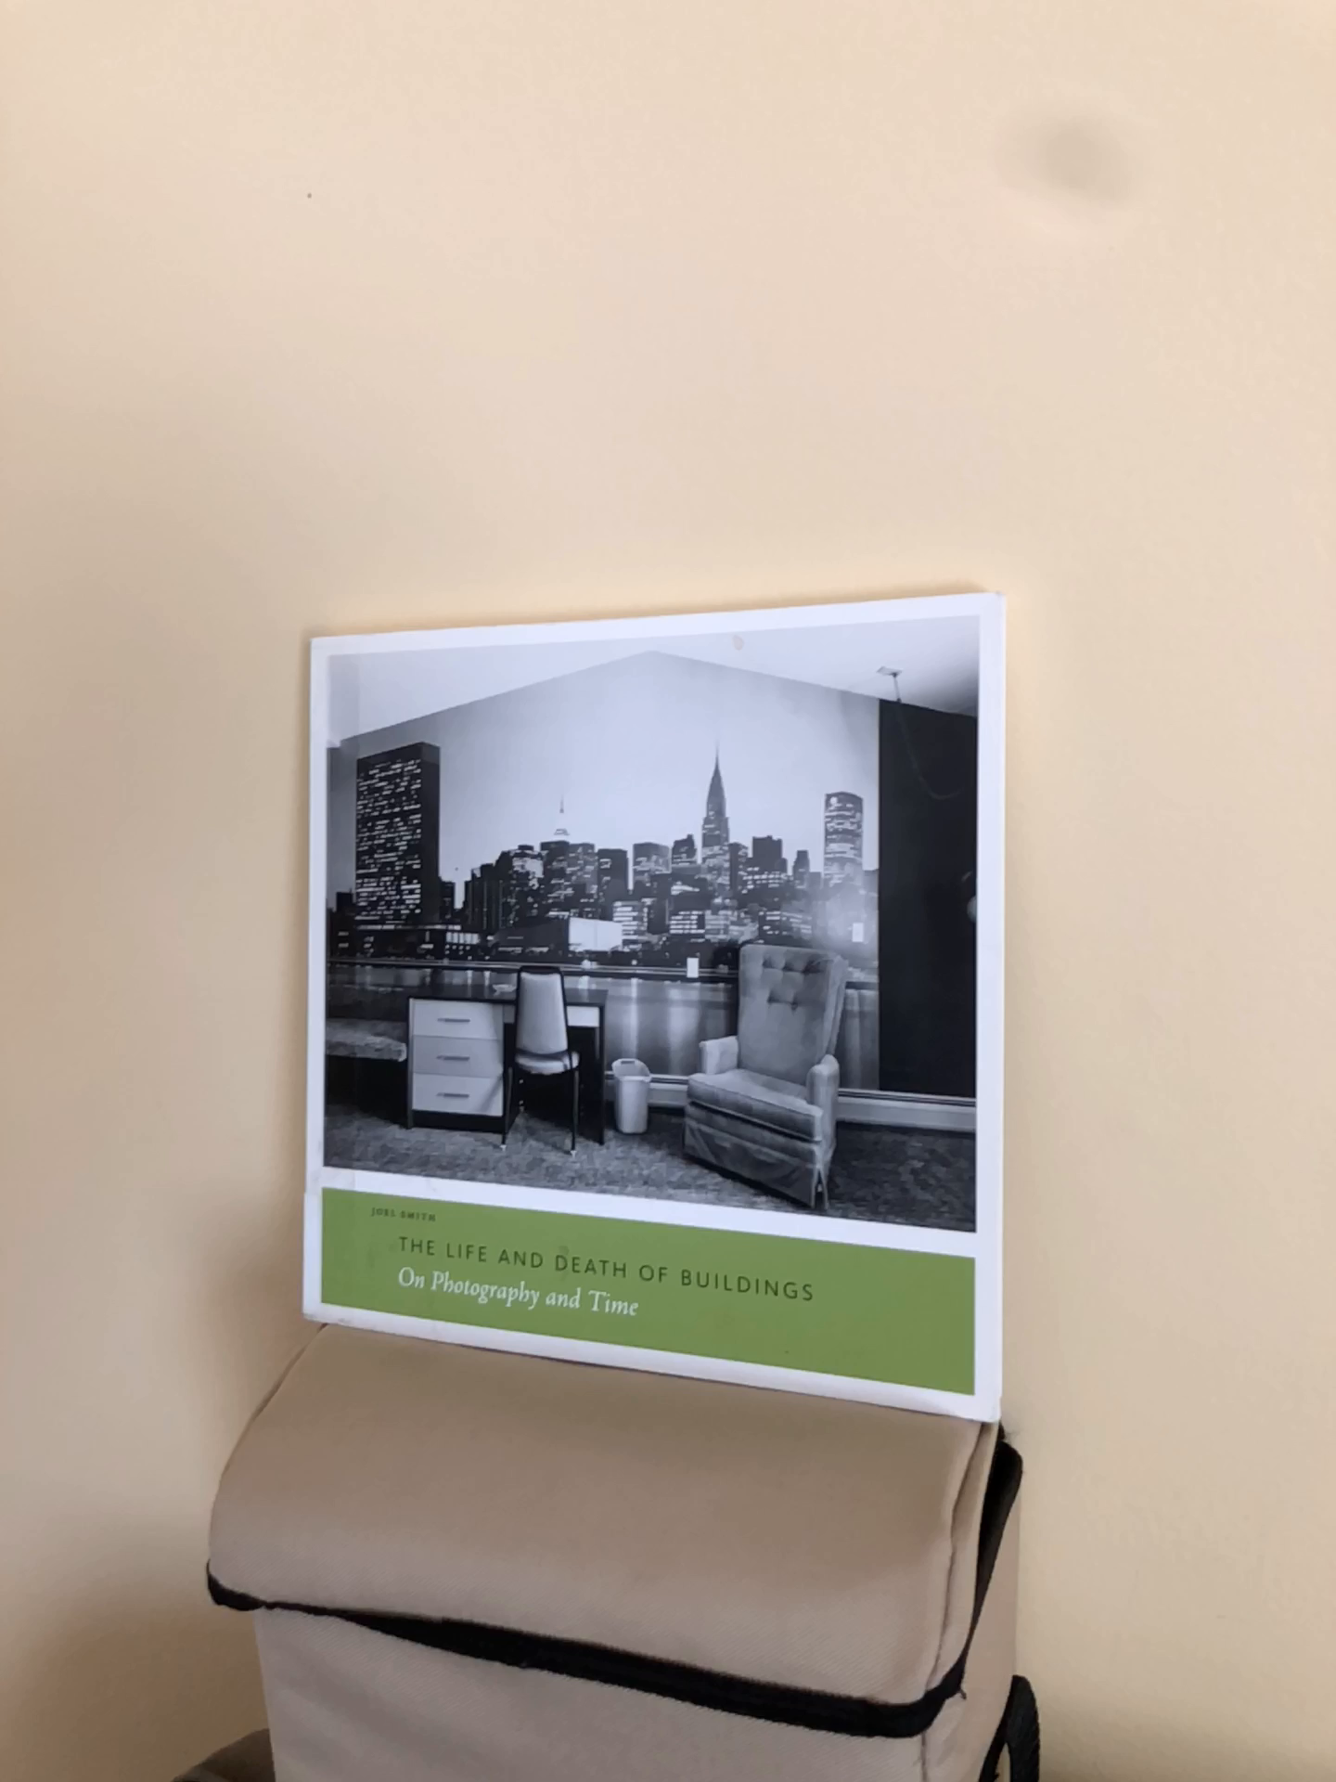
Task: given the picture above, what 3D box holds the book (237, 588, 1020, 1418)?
[{"bbox_3d":[-0.018,0.024,0.408,0.216,0.204,0.020,2,0,19],"label":"book"}]
